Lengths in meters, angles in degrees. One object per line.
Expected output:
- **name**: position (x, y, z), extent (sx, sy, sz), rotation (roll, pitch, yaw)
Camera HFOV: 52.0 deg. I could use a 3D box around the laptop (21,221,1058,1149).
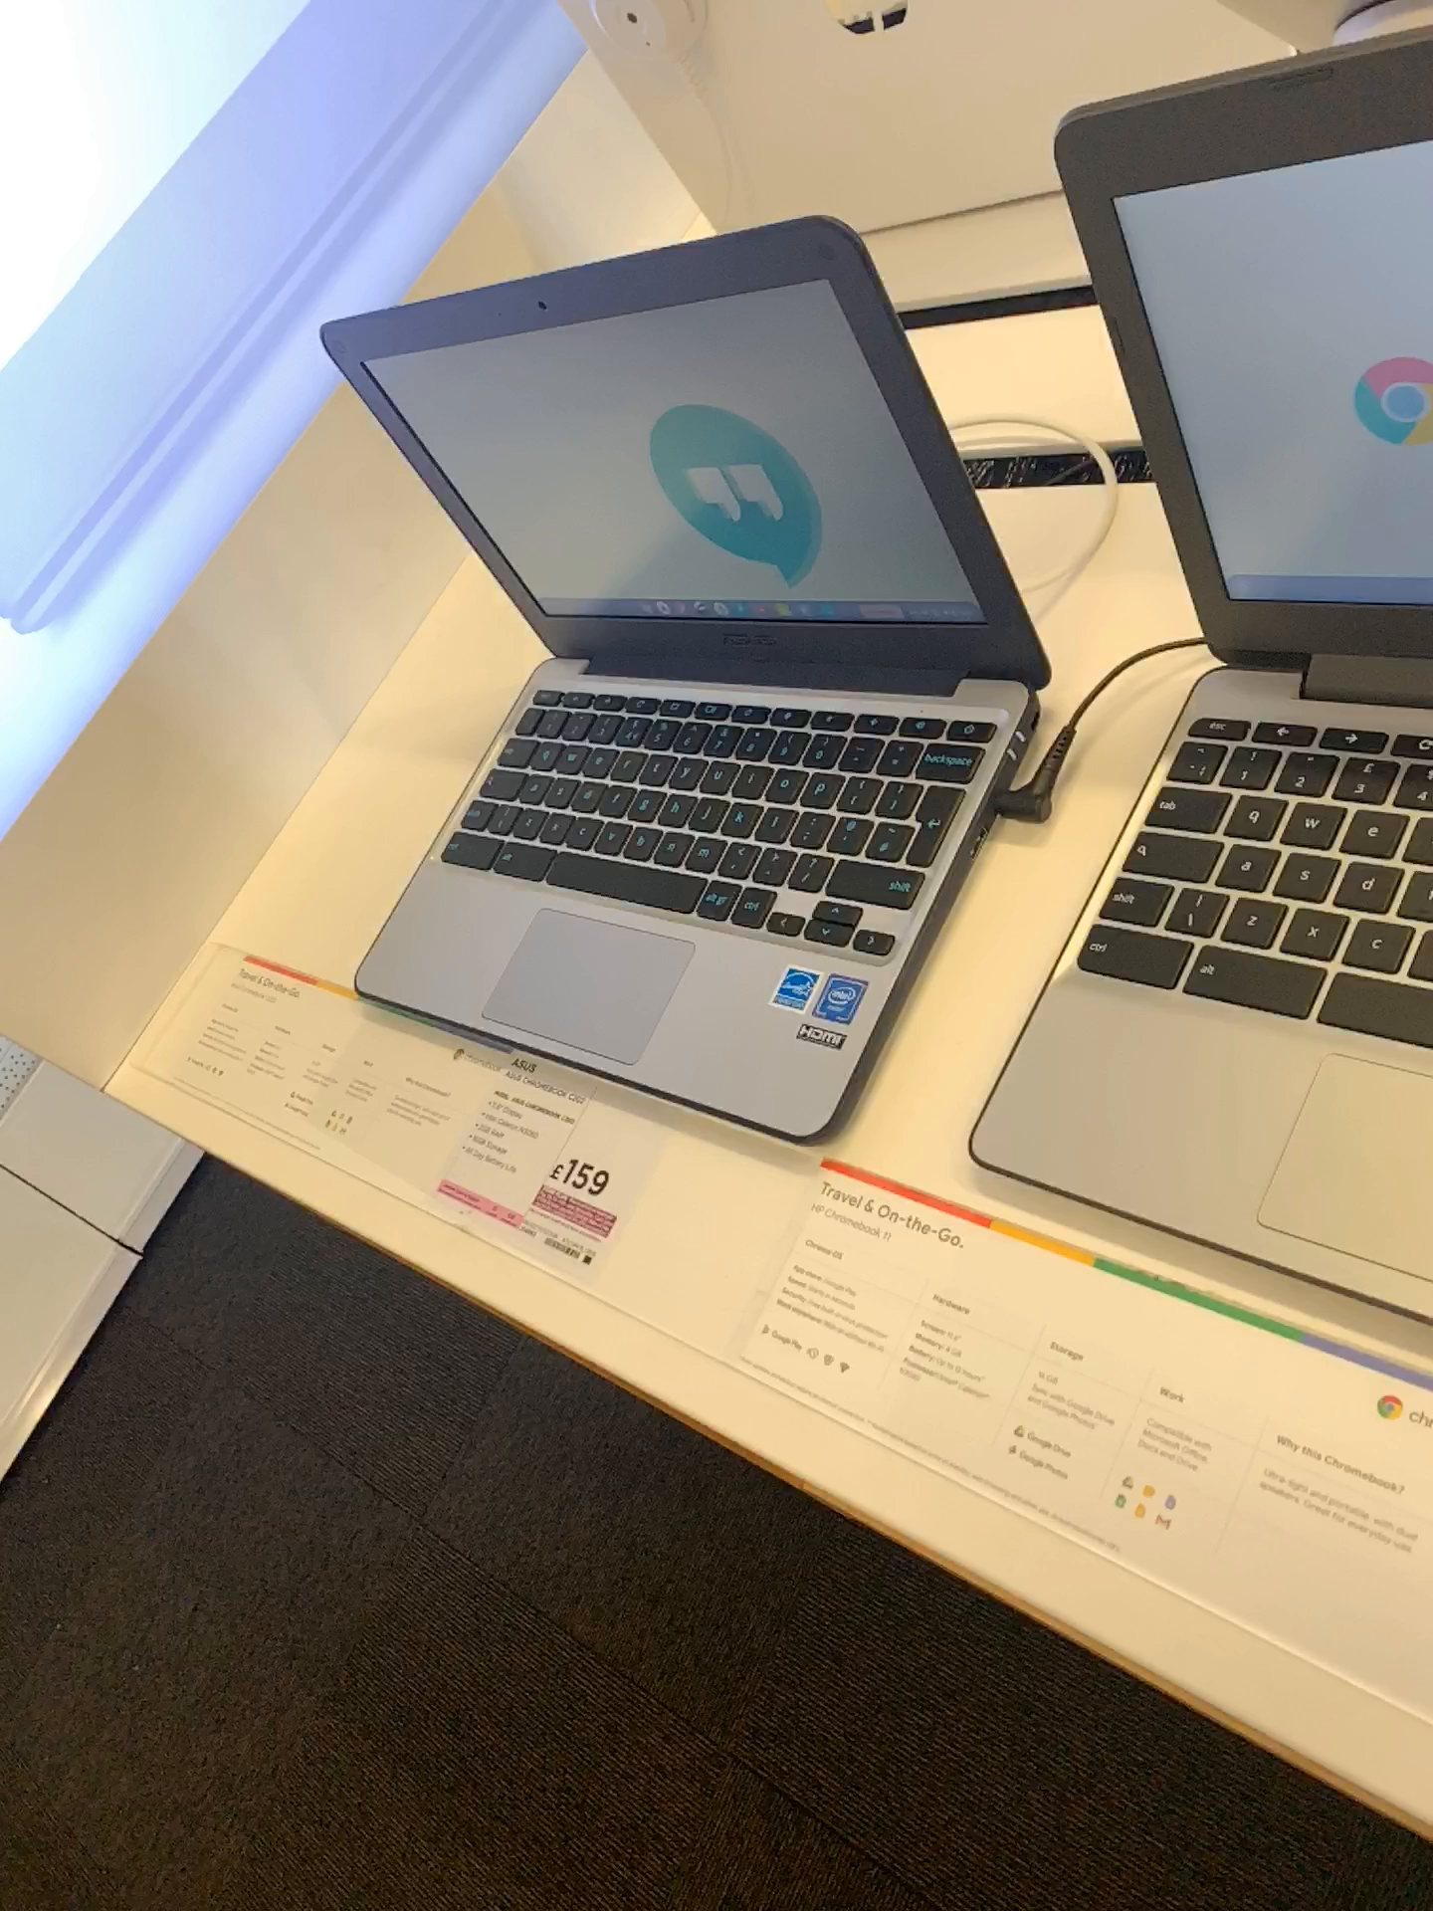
- **laptop**: position (-0.068, -0.101, 0.554), extent (0.281, 0.183, 0.216), rotation (13, 67, 43)
